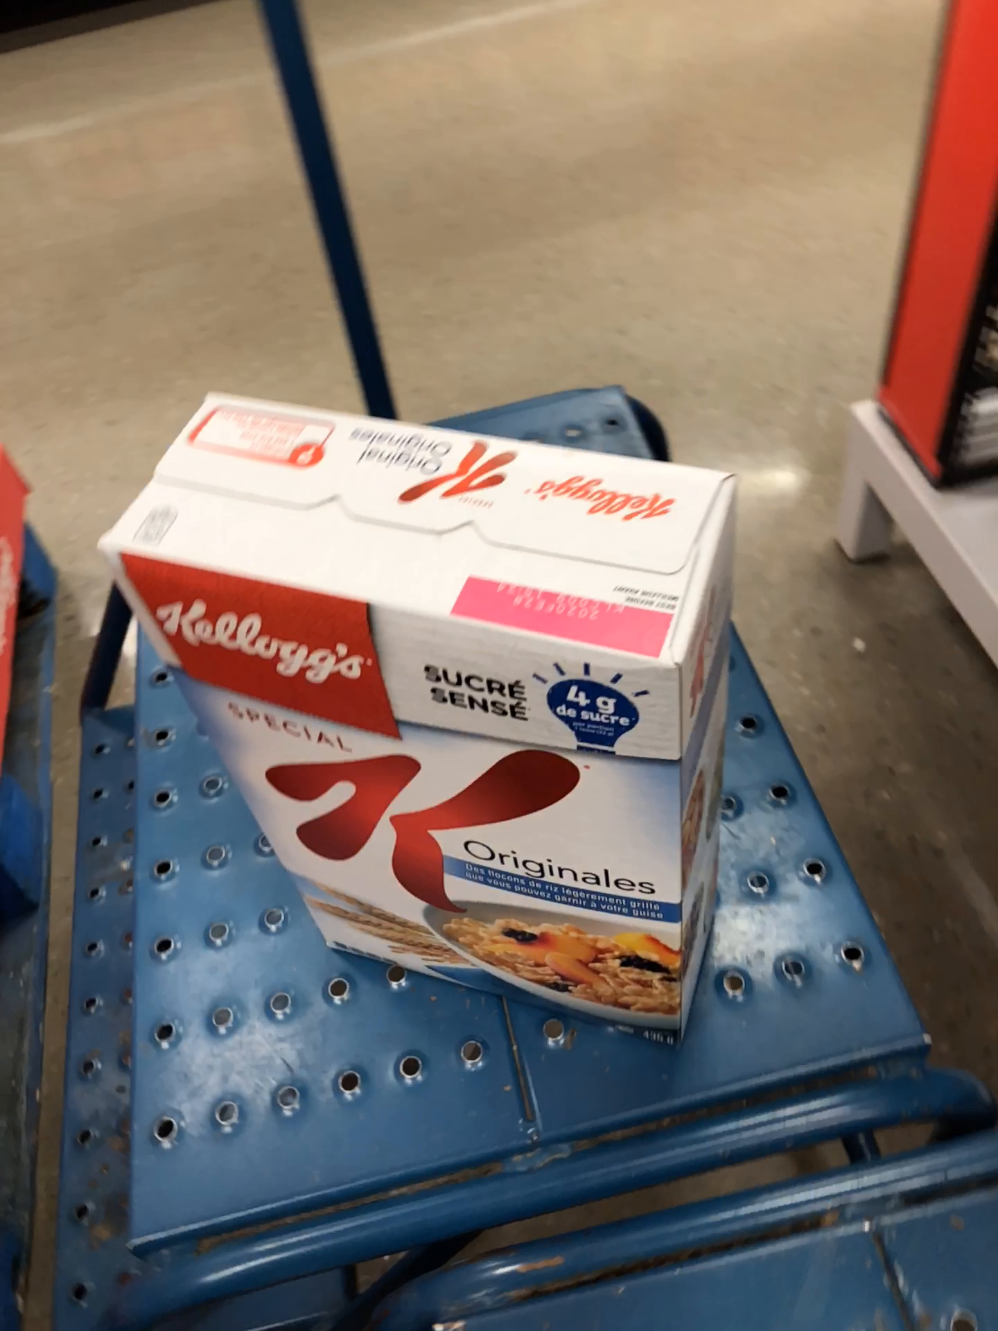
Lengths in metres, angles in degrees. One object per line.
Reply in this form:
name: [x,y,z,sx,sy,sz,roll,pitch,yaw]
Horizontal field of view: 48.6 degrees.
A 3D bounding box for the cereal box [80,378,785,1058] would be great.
cereal box: [-0.005,0.040,0.461,0.210,0.299,0.080,11,53,18]
